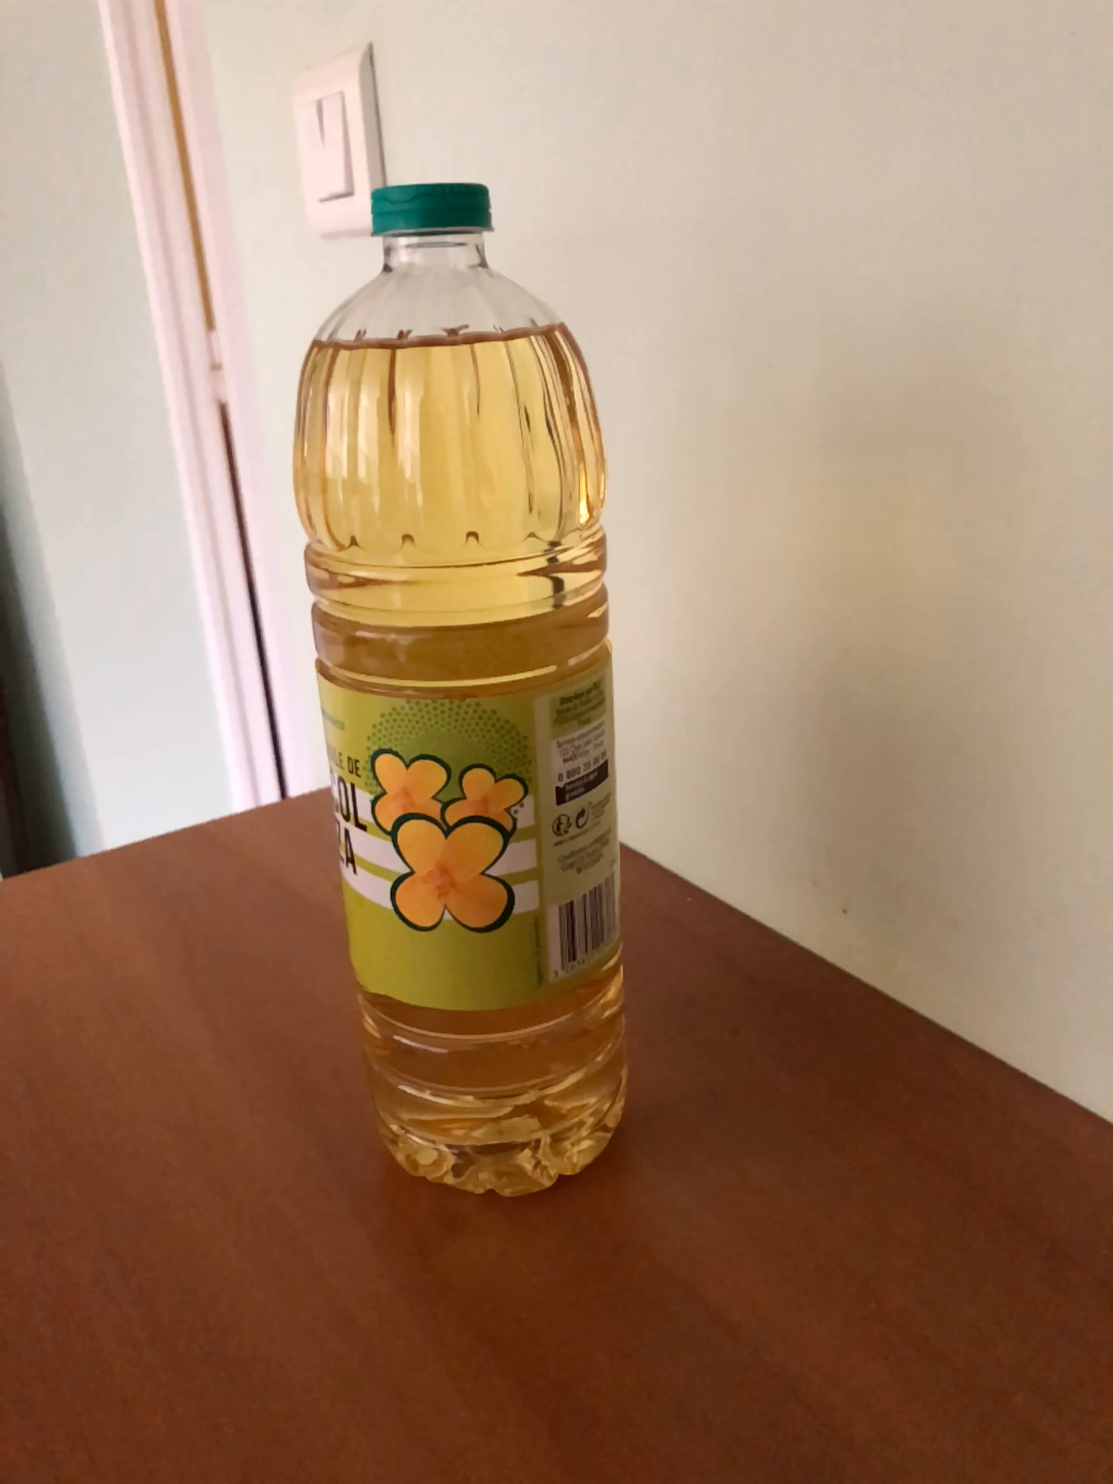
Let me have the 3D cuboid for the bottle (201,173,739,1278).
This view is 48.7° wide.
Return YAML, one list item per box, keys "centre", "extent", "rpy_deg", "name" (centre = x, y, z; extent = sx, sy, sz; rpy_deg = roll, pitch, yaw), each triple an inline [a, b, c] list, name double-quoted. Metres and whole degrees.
- centre: [-0.014, -0.006, 0.341]
  extent: [0.090, 0.269, 0.090]
  rpy_deg: [-3, 20, 1]
  name: "bottle"
